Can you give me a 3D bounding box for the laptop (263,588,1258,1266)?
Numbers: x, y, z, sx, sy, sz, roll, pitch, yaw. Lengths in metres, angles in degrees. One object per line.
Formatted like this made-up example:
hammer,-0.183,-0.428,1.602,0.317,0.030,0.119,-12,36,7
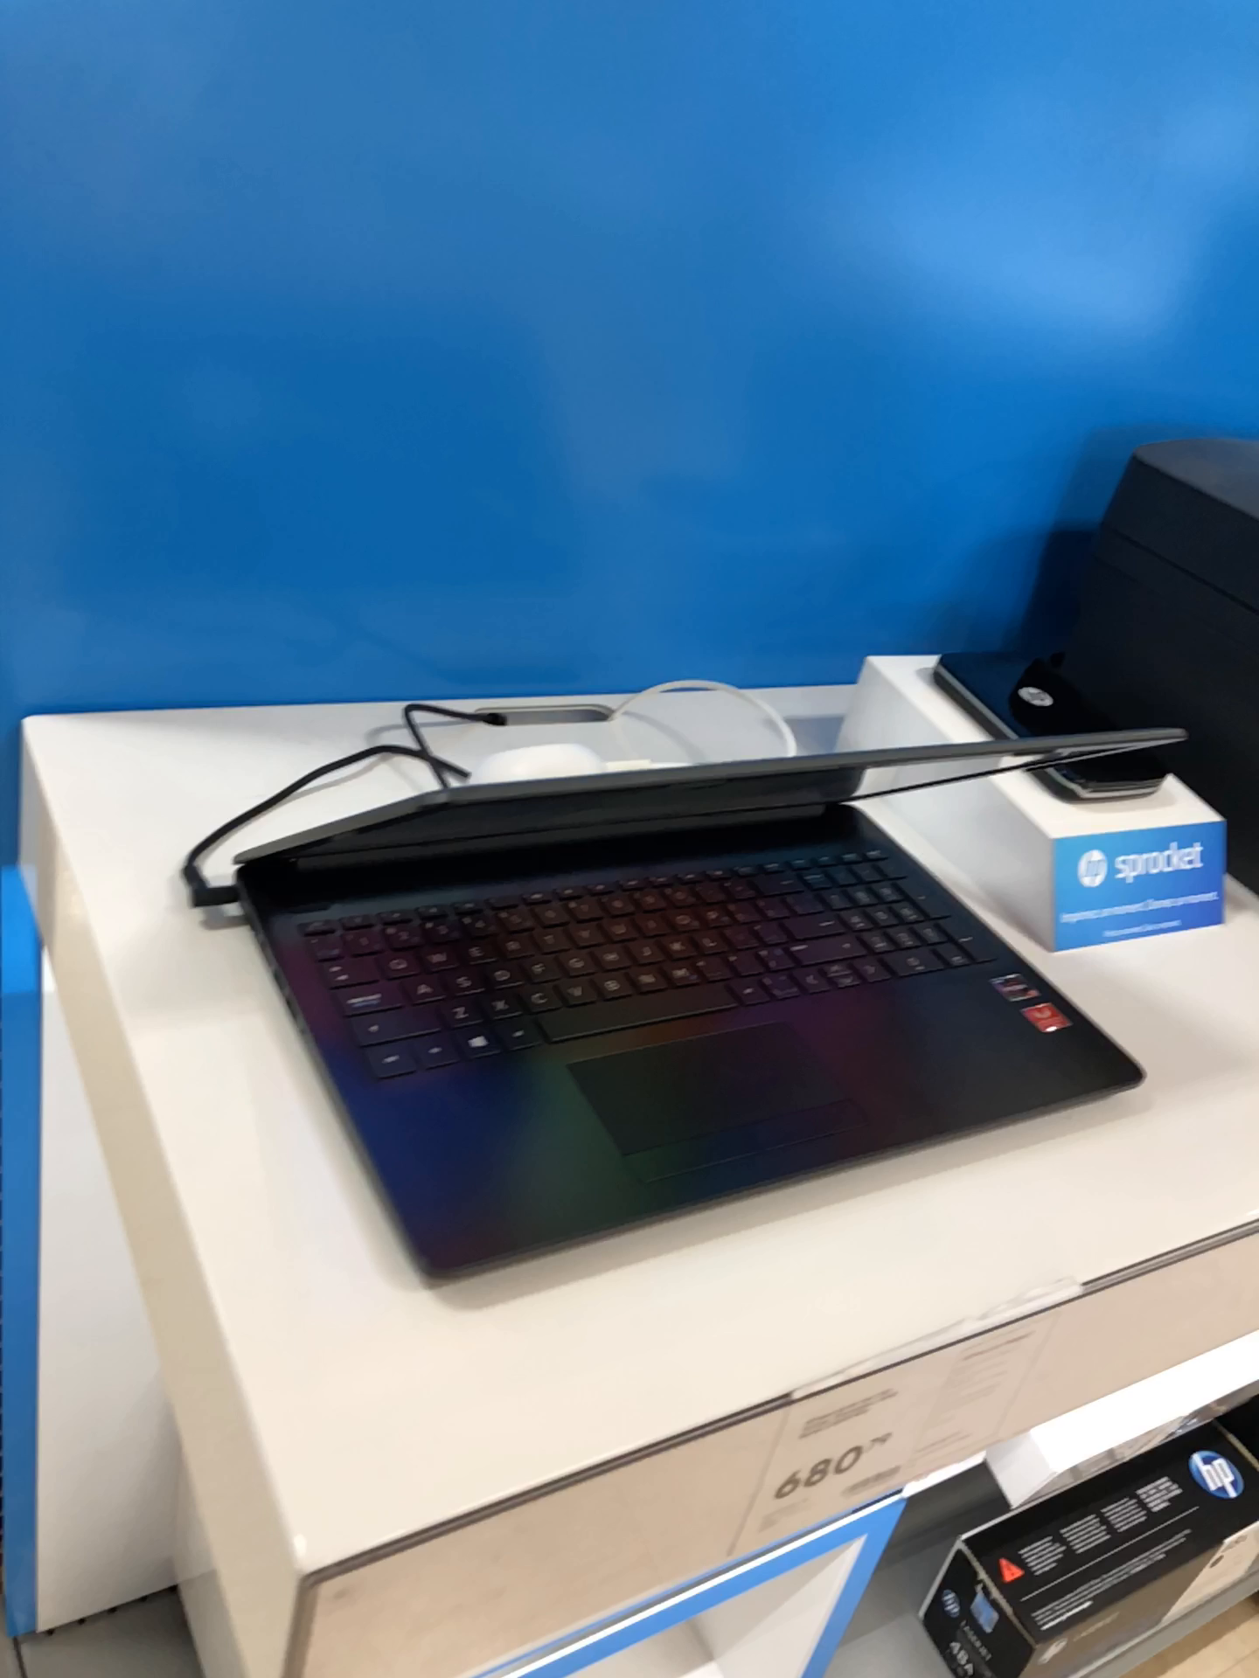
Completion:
laptop,0.059,0.003,0.597,0.356,0.130,0.242,-6,35,-34
